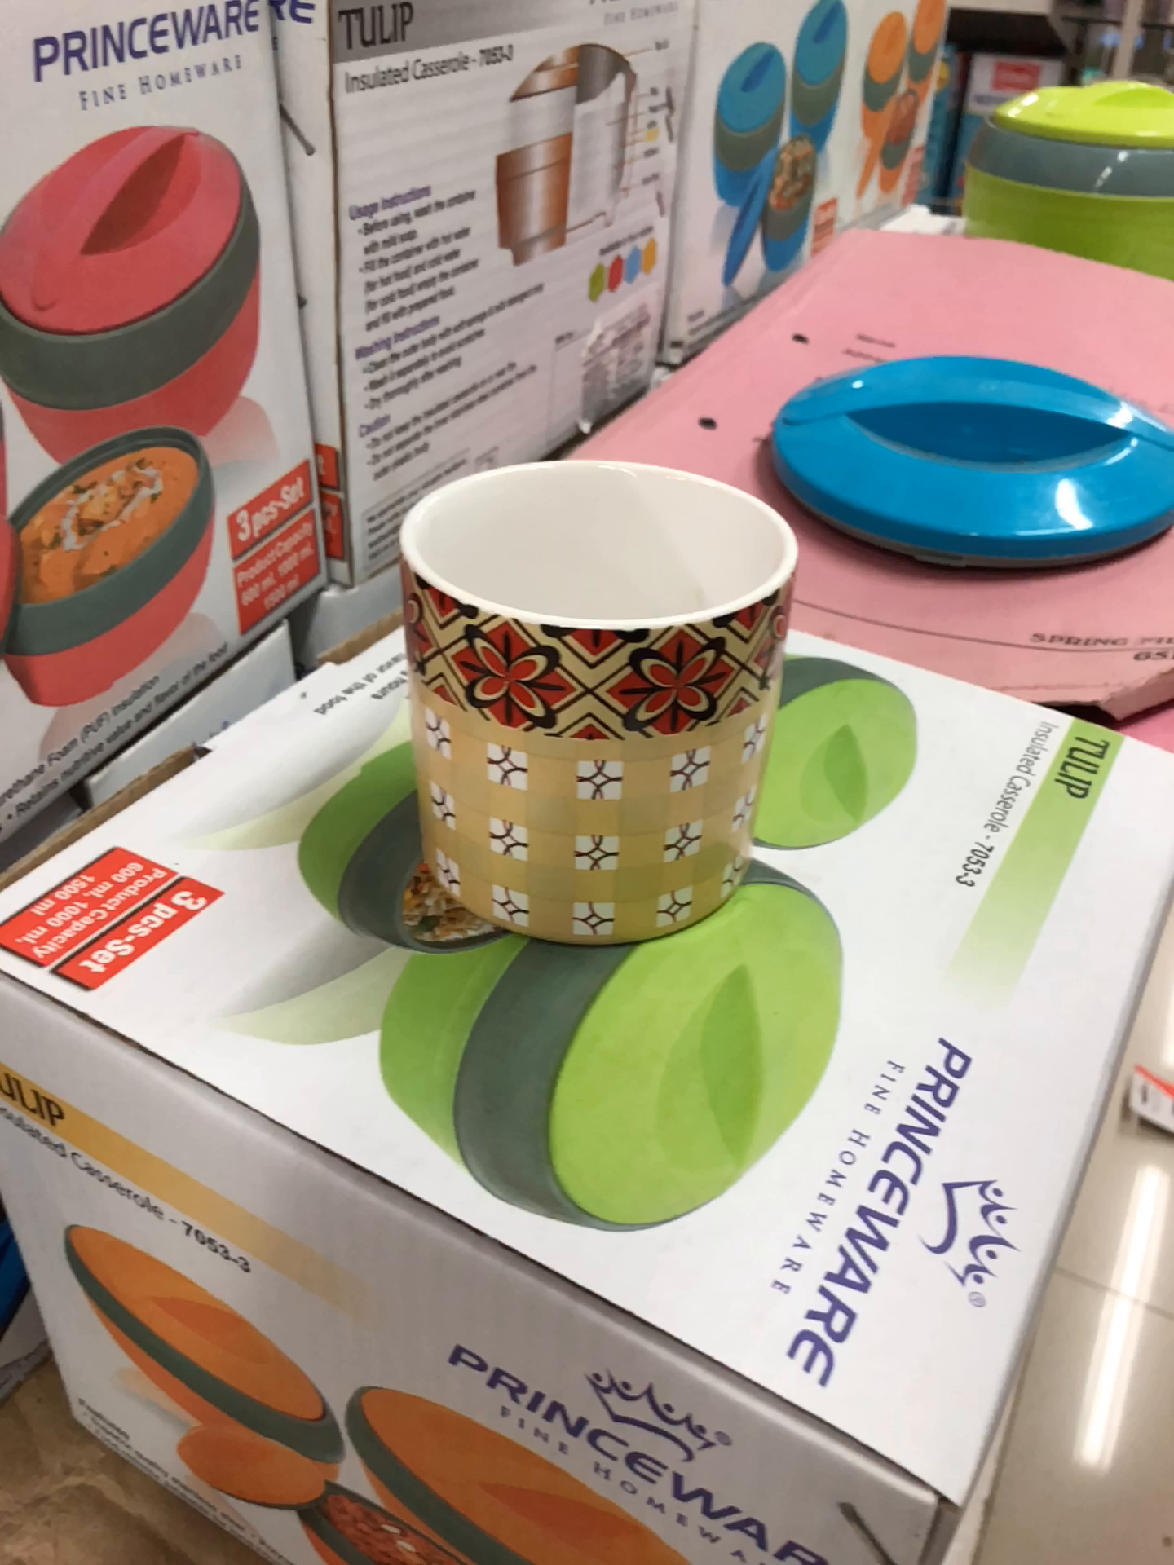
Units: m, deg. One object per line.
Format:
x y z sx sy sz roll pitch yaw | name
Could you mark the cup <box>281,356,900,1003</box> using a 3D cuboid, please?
0.006 -0.030 0.280 0.080 0.079 0.111 18 38 21 | cup
